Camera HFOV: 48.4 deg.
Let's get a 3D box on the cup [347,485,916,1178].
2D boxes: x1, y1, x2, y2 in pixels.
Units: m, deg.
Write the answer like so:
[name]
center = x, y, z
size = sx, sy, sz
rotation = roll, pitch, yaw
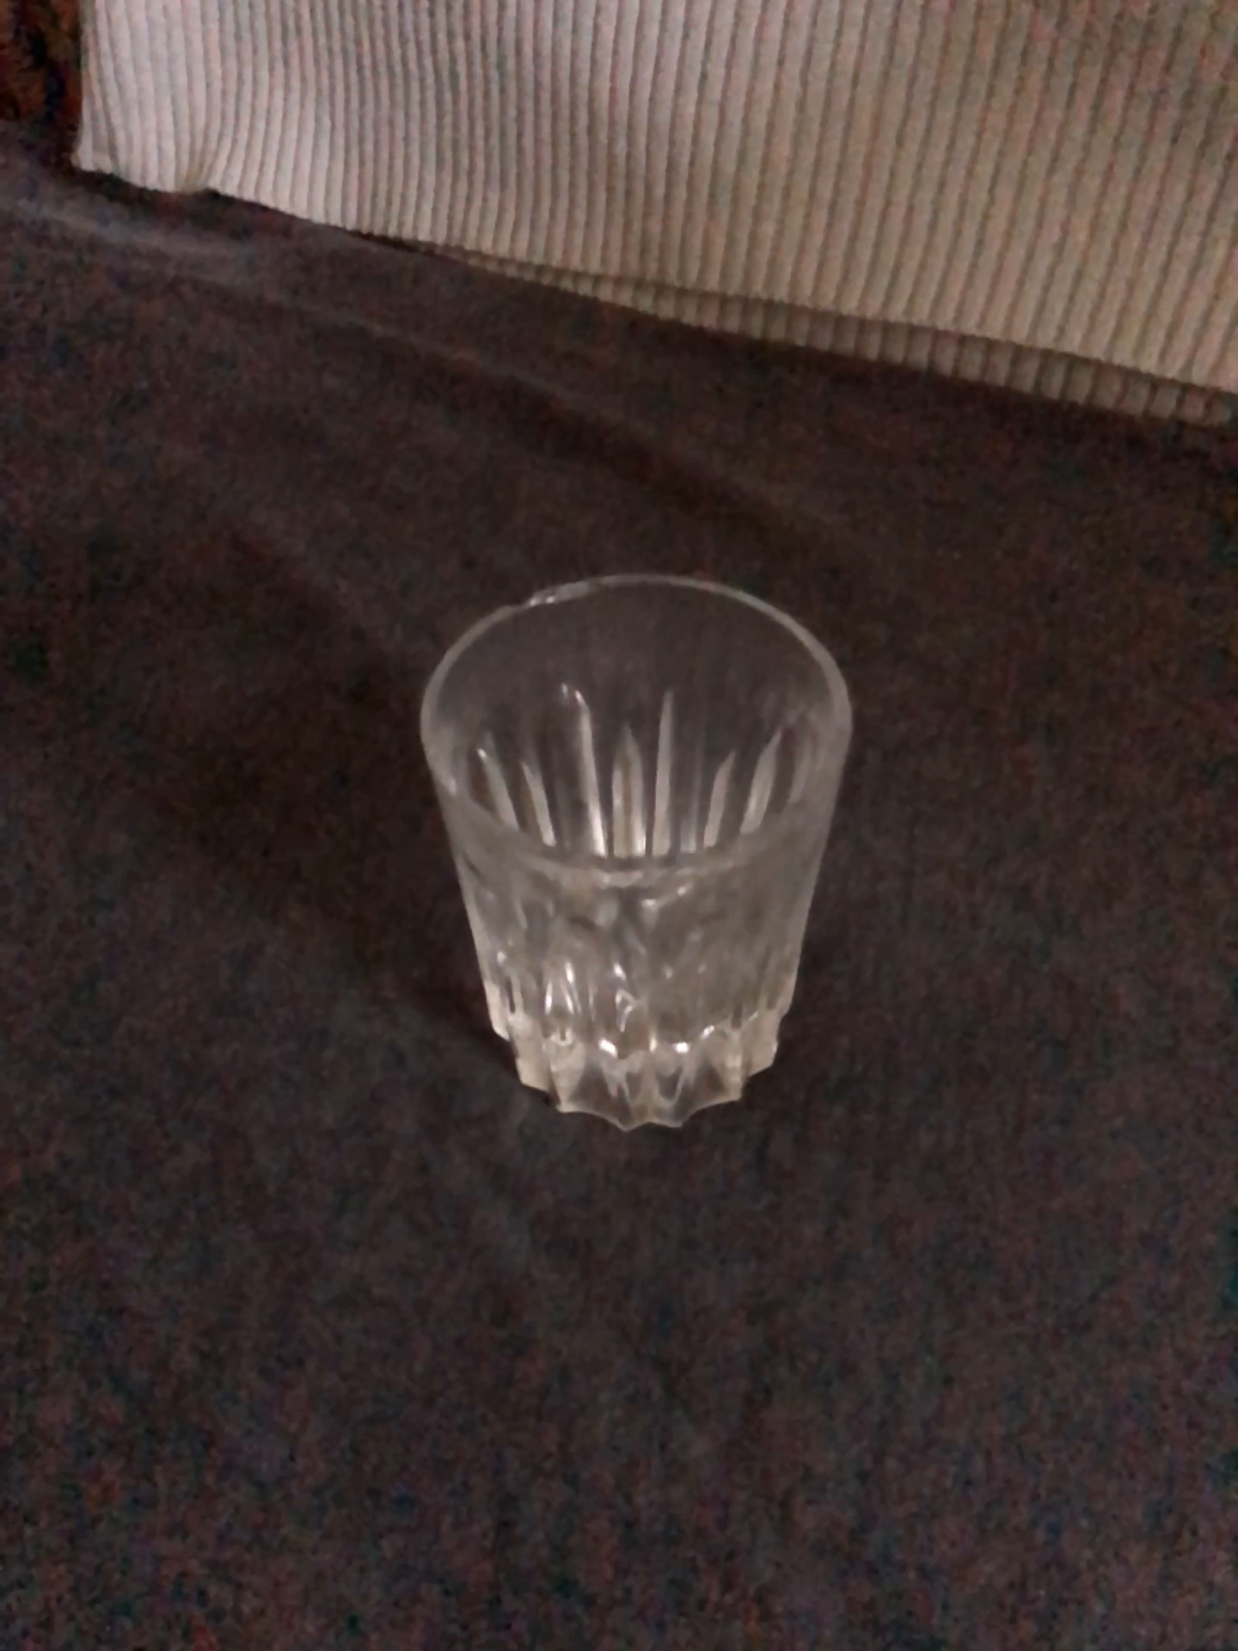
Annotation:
[cup]
center = 0.002, 0.002, 0.212
size = 0.059, 0.078, 0.048
rotation = 27, 52, 22
